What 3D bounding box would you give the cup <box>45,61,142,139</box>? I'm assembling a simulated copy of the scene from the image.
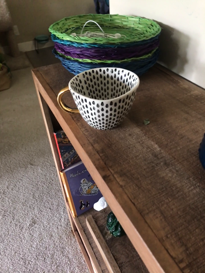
[{"bbox_3d":[-0.006,-0.064,0.367,0.130,0.079,0.101,5,42,9],"label":"cup"}]
